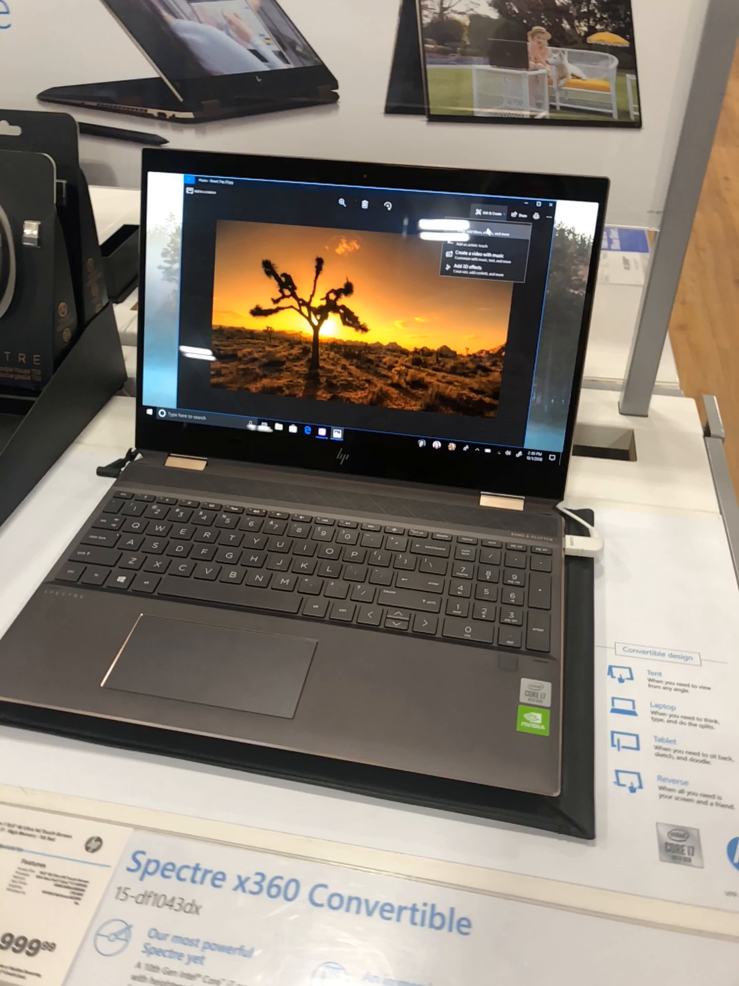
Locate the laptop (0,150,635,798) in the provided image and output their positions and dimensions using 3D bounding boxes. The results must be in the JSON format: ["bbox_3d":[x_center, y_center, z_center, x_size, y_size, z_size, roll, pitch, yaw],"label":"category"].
[{"bbox_3d":[-0.035,-0.050,0.538,0.348,0.209,0.361,7,40,8],"label":"laptop"}]
